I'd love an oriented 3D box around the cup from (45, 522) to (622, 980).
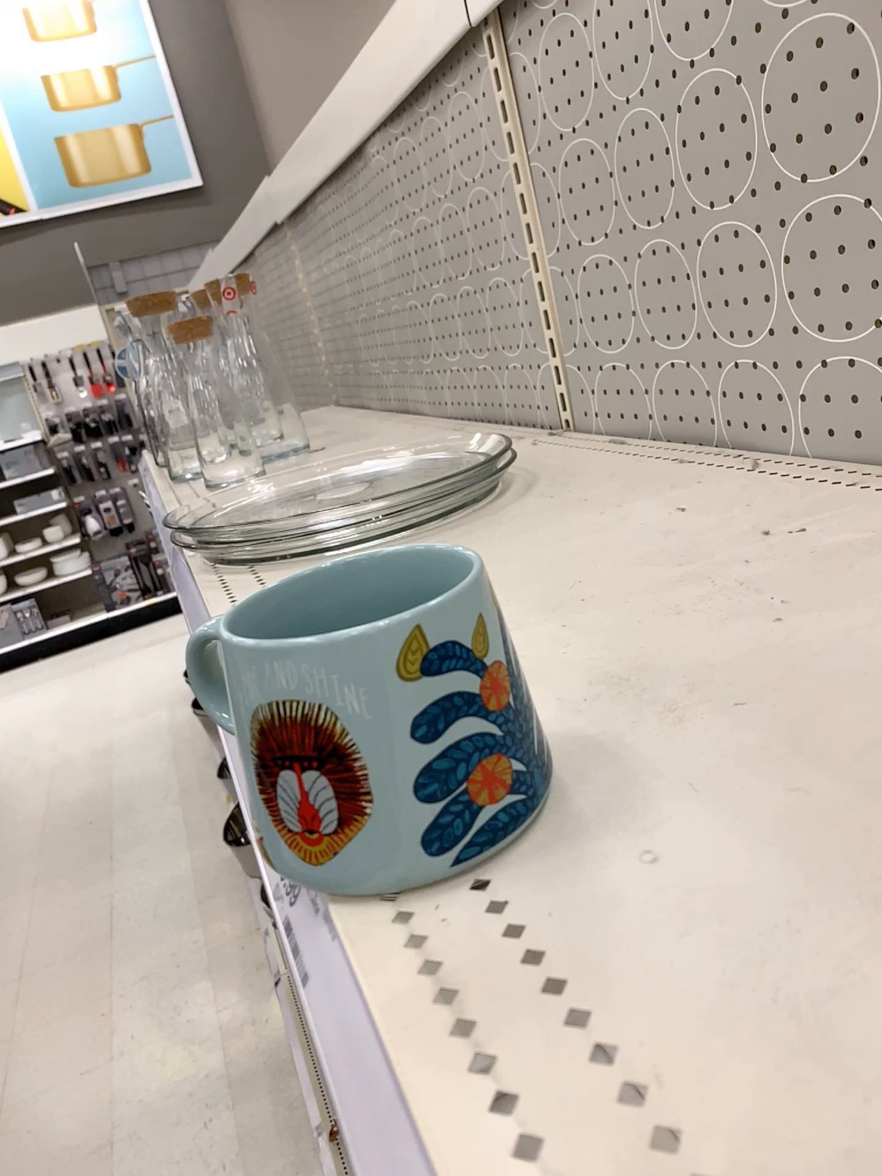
[{"bbox_3d":[-0.033,0.043,0.319,0.140,0.090,0.120,-2,21,36],"label":"cup"}]
